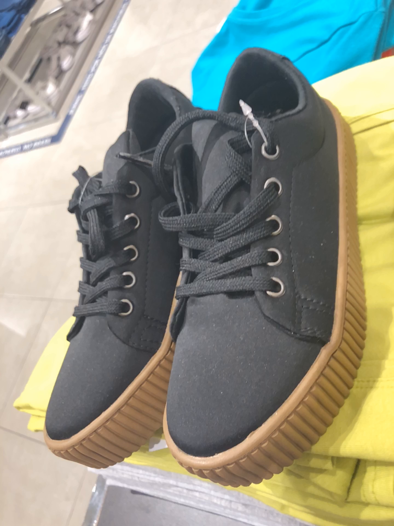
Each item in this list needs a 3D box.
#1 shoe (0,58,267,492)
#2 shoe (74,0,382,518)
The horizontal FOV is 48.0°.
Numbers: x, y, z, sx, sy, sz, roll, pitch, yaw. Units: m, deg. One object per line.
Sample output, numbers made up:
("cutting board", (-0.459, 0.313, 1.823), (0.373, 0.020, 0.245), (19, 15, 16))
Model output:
("shoe", (-0.039, 0.000, 0.275), (0.090, 0.080, 0.230), (-2, 61, 39))
("shoe", (0.034, -0.016, 0.231), (0.090, 0.080, 0.240), (-7, 58, 37))
